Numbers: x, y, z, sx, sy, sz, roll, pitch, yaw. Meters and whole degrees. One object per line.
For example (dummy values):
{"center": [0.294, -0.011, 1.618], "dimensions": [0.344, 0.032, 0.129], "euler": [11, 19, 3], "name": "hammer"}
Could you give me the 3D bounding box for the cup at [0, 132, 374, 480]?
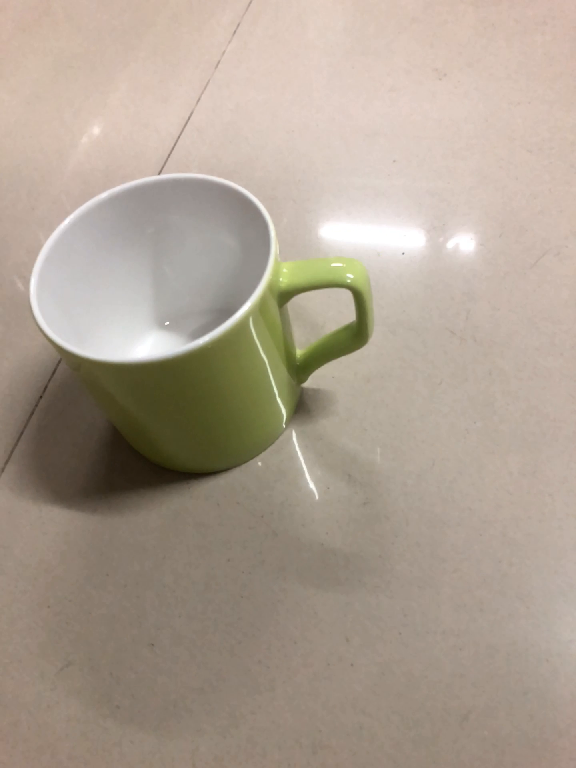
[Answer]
{"center": [-0.025, -0.019, 0.203], "dimensions": [0.100, 0.080, 0.070], "euler": [-2, 57, 9], "name": "cup"}
